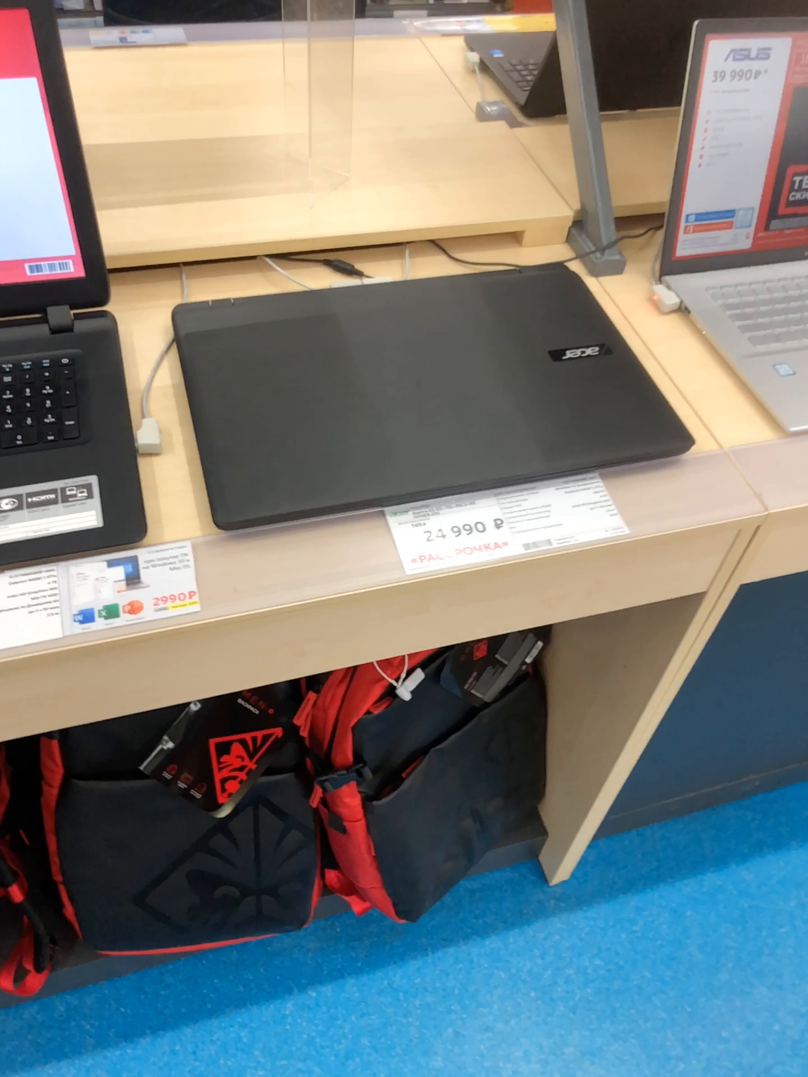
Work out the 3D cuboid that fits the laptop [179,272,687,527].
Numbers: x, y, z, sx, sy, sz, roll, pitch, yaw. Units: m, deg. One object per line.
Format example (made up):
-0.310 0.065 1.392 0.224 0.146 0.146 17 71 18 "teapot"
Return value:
0.017 -0.148 0.818 0.410 0.005 0.279 -9 51 -14 "laptop"
